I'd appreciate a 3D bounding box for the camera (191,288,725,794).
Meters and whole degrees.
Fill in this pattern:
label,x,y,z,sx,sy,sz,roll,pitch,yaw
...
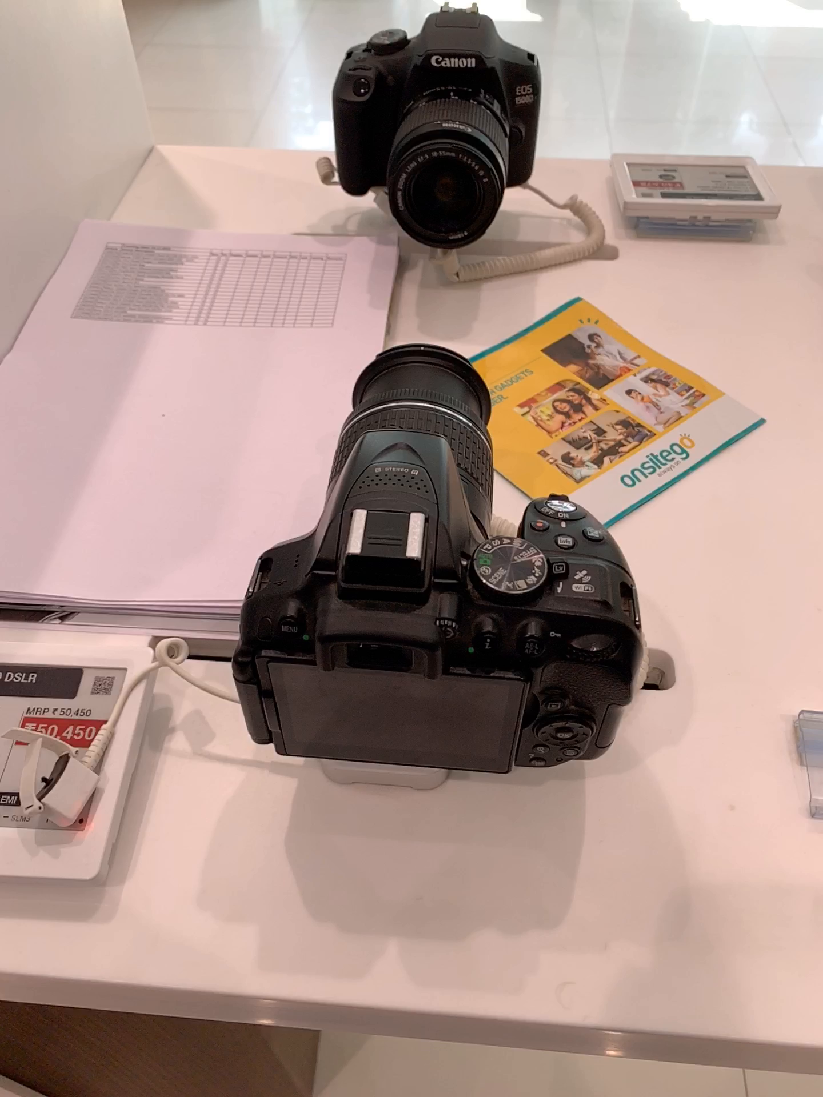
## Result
label,x,y,z,sx,sy,sz,roll,pitch,yaw
camera,0.015,-0.003,0.259,0.118,0.100,0.107,4,49,4
